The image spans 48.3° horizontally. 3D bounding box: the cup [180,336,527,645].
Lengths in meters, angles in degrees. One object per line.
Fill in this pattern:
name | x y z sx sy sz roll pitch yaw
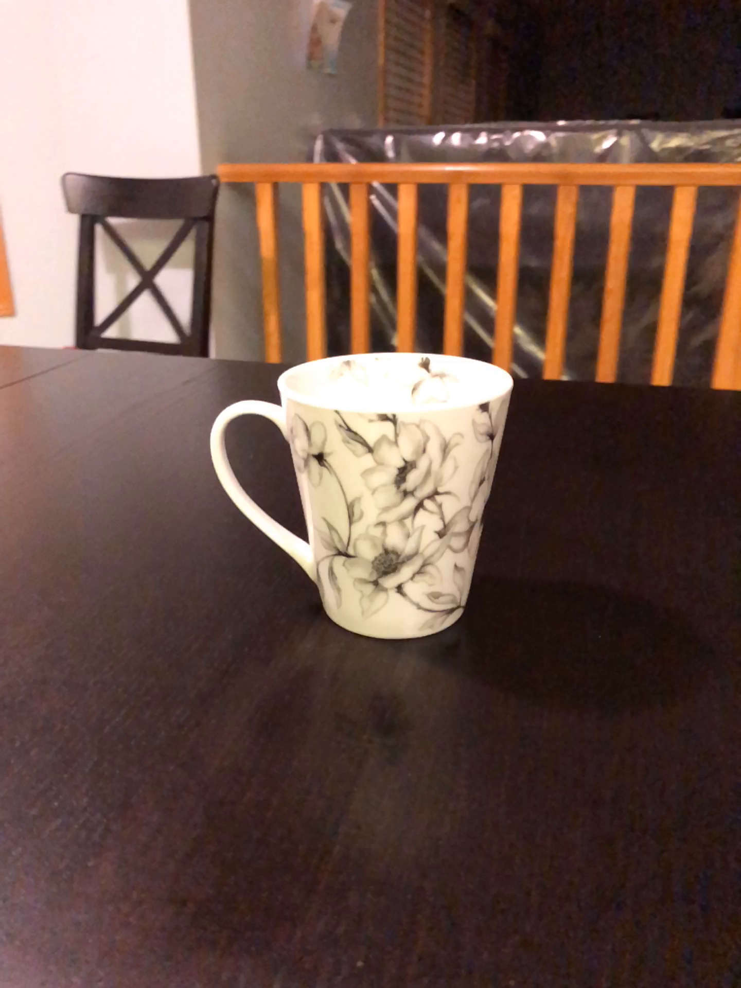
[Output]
cup | -0.008 -0.007 0.350 0.120 0.100 0.100 -1 20 -3
